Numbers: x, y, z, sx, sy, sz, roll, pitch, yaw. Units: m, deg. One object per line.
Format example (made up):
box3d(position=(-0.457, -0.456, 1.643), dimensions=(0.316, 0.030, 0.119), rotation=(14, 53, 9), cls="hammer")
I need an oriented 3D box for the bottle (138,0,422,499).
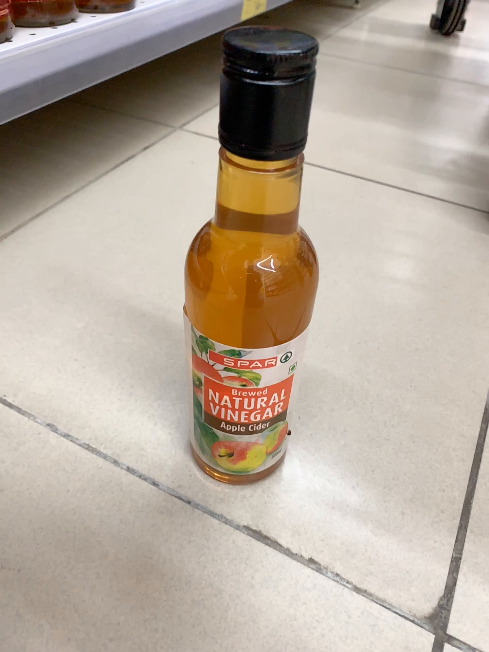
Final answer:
box3d(position=(0.006, -0.010, 0.222), dimensions=(0.070, 0.219, 0.060), rotation=(5, 43, 1), cls="bottle")
